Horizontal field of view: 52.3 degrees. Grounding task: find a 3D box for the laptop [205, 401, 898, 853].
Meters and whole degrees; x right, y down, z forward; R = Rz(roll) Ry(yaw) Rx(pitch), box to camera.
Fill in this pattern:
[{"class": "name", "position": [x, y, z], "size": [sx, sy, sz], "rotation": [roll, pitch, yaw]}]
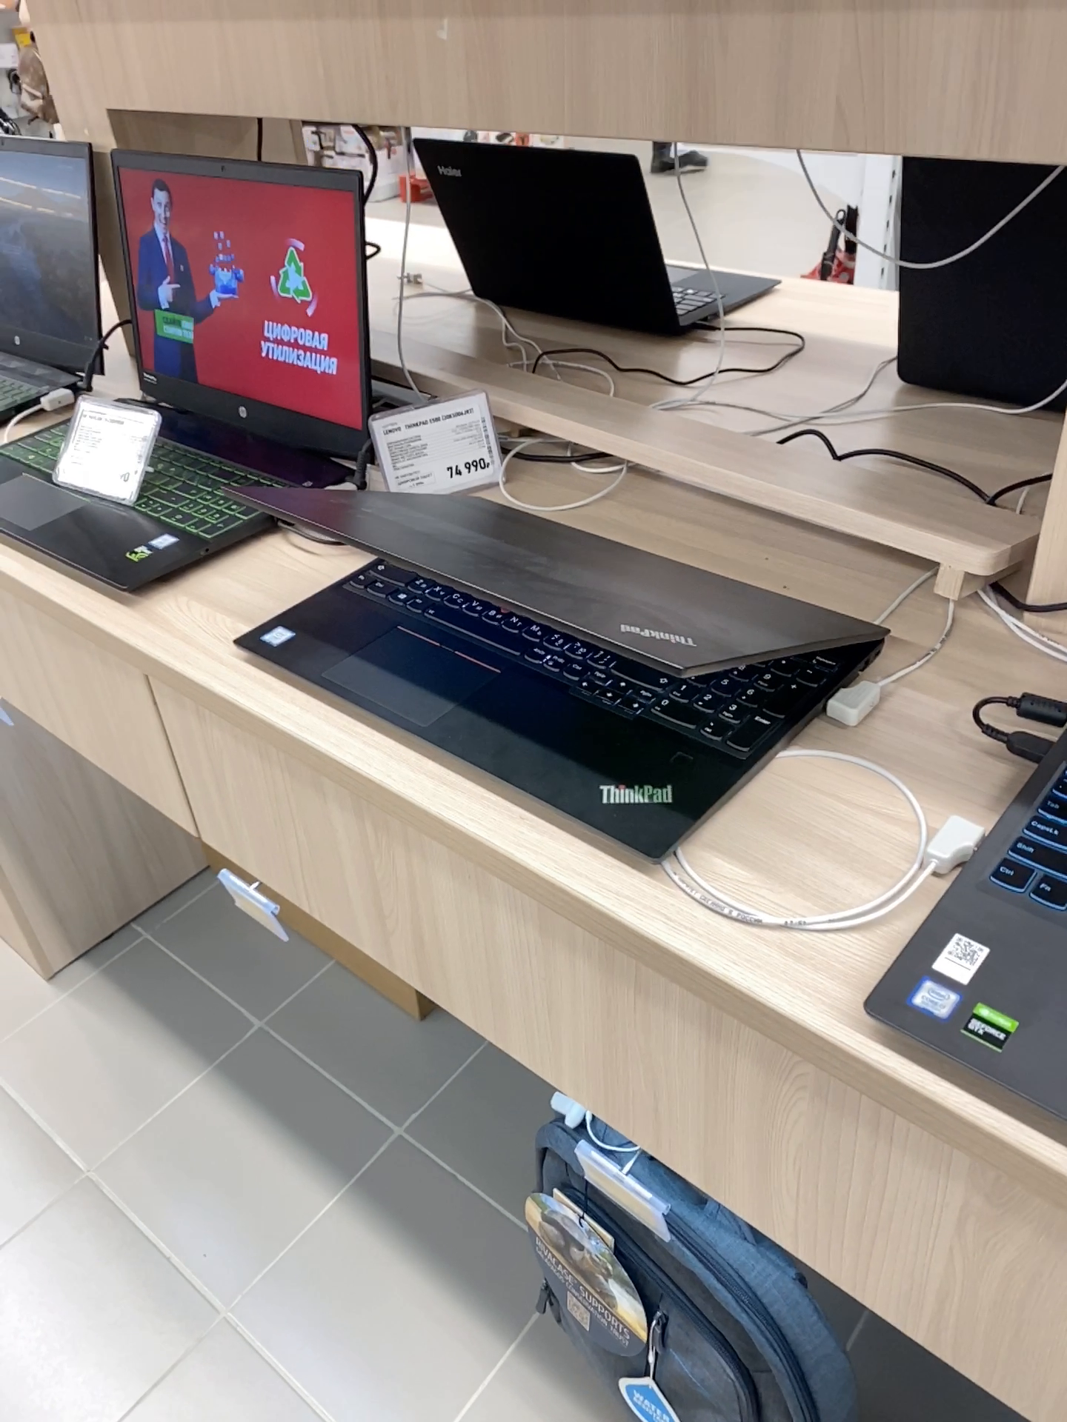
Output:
[{"class": "laptop", "position": [0.001, -0.086, 0.702], "size": [0.369, 0.093, 0.240], "rotation": [24, 45, 36]}]
